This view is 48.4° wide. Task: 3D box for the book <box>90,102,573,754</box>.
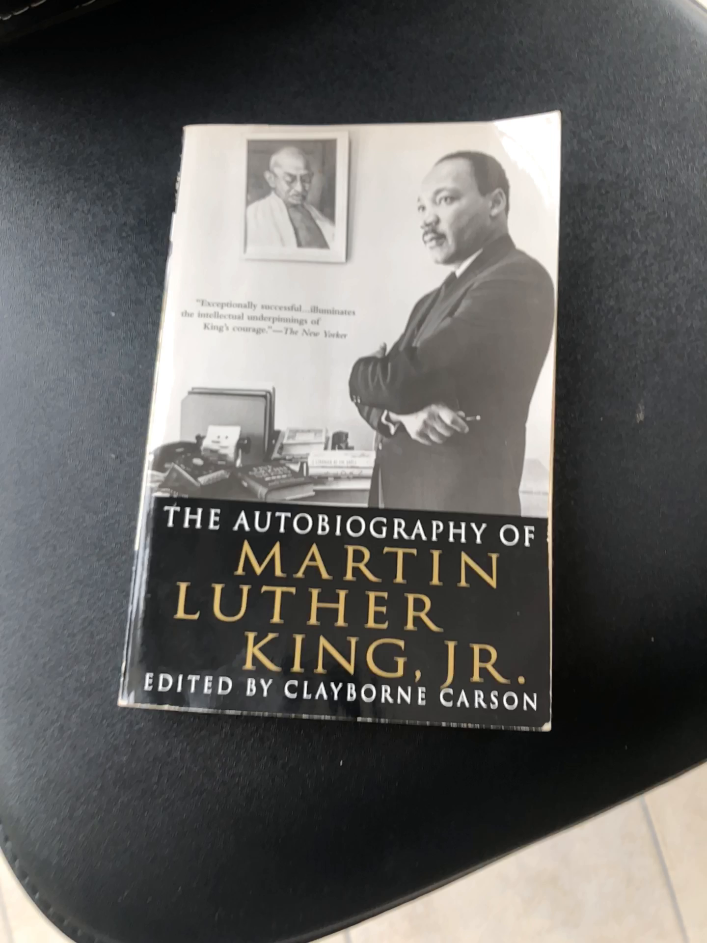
[{"bbox_3d":[-0.003,-0.022,0.307,0.160,0.050,0.230,3,82,7],"label":"book"}]
